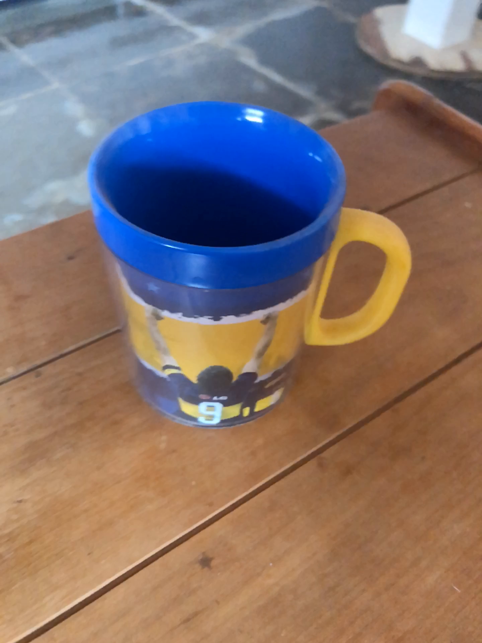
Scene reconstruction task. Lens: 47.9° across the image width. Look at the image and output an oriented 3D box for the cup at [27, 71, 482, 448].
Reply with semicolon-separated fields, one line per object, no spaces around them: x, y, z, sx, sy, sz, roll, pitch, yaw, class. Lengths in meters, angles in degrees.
0.003;-0.019;0.211;0.120;0.109;0.091;2;50;-2;cup
